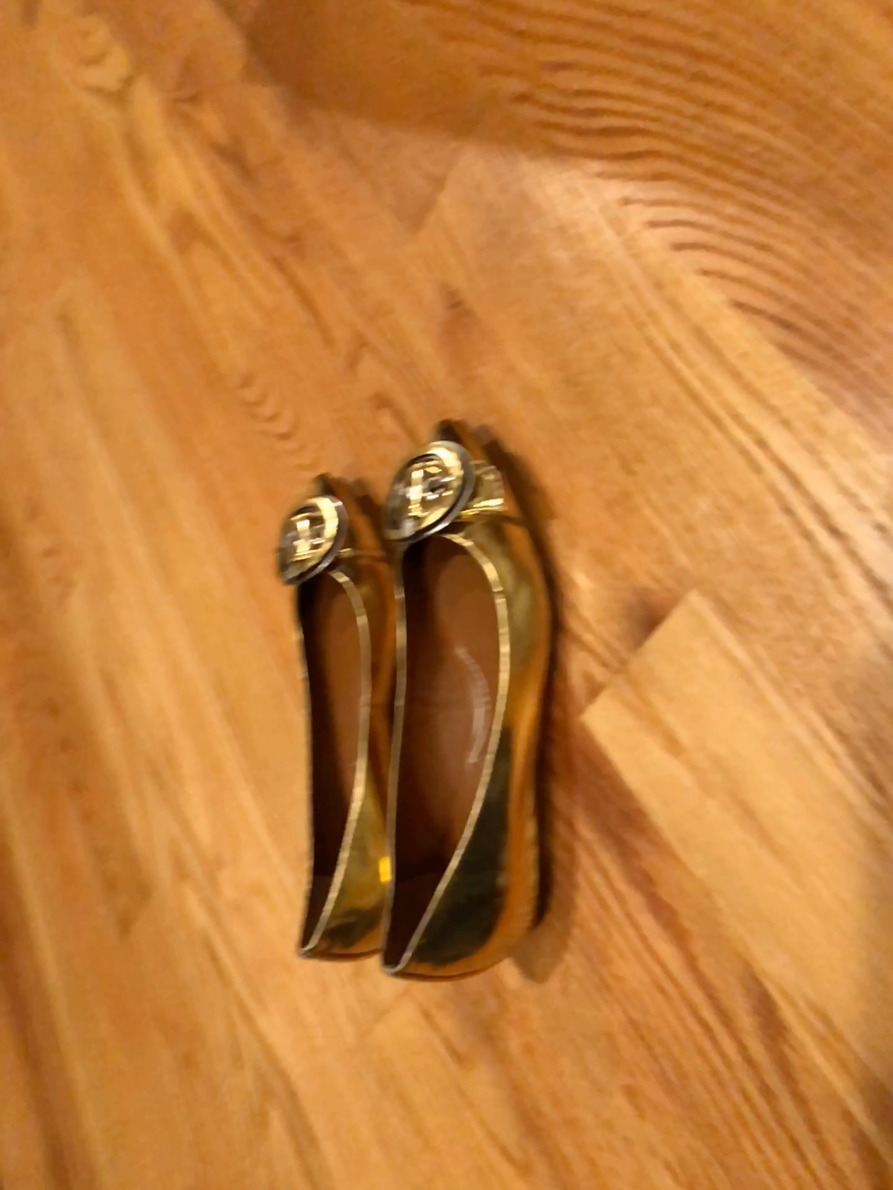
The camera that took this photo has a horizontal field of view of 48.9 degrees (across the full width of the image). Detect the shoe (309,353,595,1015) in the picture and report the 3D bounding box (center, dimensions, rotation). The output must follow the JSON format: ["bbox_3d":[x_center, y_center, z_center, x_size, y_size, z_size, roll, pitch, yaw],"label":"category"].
[{"bbox_3d":[-0.001,0.034,0.420,0.077,0.066,0.249,-12,81,49],"label":"shoe"}]

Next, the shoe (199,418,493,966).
[{"bbox_3d":[-0.055,0.045,0.483,0.083,0.066,0.244,-27,70,46],"label":"shoe"}]
